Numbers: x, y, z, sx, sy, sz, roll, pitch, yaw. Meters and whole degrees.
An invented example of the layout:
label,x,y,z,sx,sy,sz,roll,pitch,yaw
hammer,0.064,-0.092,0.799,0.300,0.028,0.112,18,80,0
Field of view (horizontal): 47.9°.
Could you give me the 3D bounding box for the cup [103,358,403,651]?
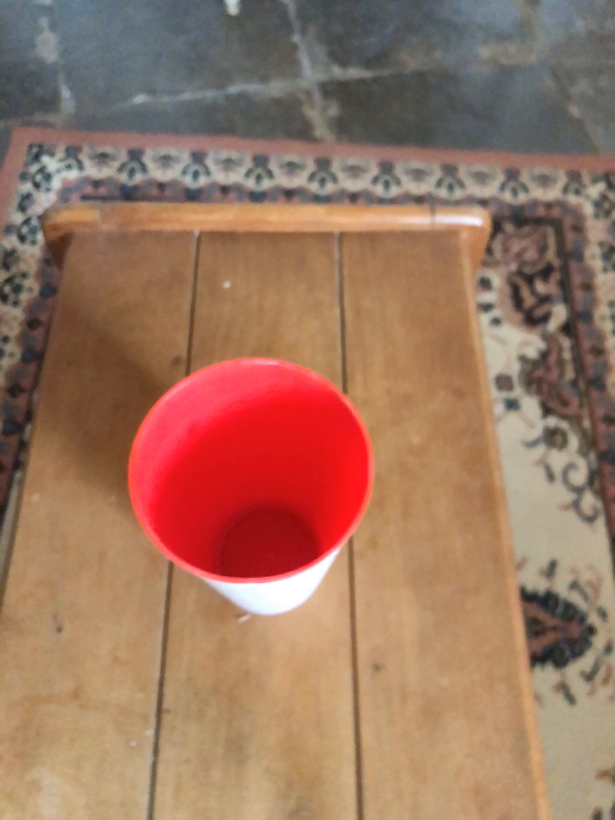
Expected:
label,x,y,z,sx,sy,sz,roll,pitch,yaw
cup,-0.021,0.048,0.305,0.100,0.119,0.090,-3,64,-2
